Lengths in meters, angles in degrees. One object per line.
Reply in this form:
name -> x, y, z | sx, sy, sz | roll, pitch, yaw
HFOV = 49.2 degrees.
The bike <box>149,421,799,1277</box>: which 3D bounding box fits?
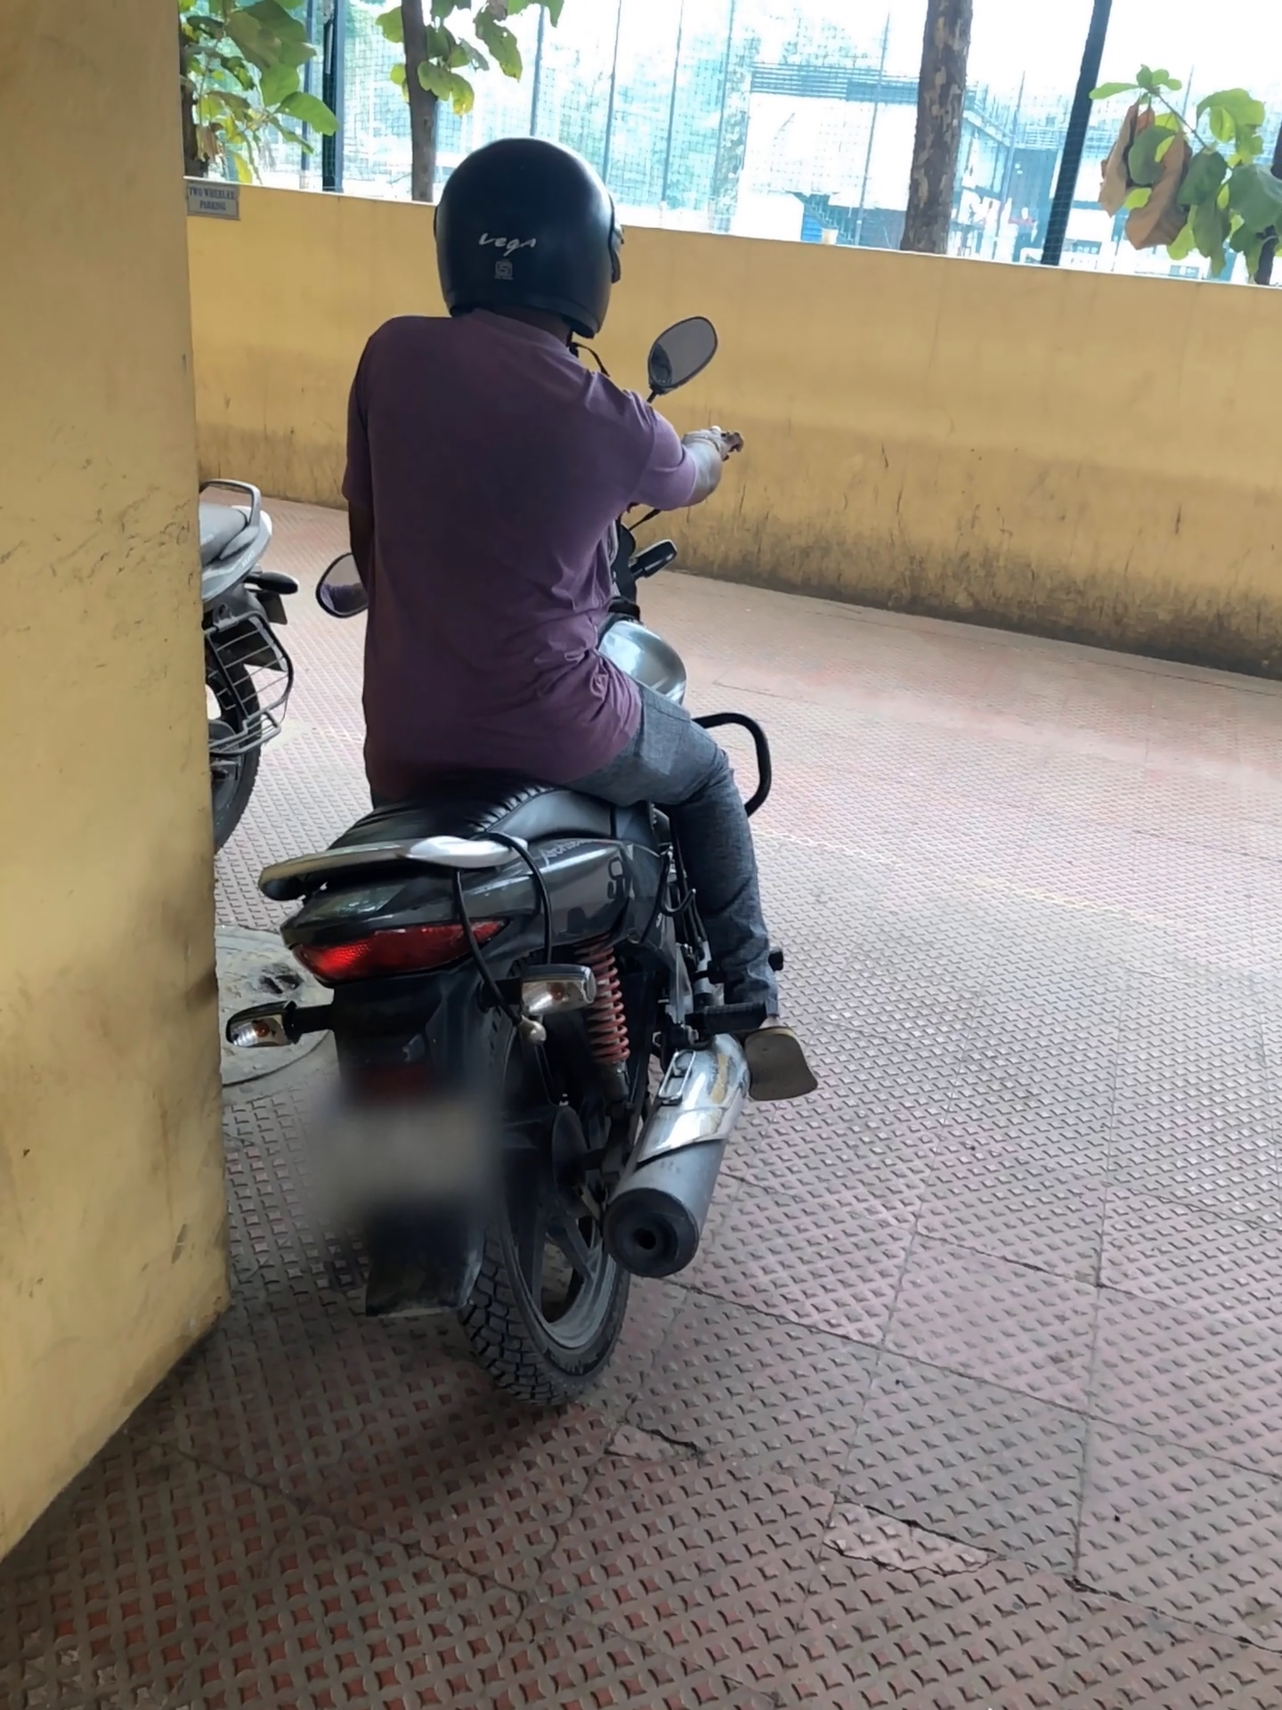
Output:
bike -> -0.172, -0.132, 2.345 | 0.699, 1.000, 1.244 | 8, 22, 5
